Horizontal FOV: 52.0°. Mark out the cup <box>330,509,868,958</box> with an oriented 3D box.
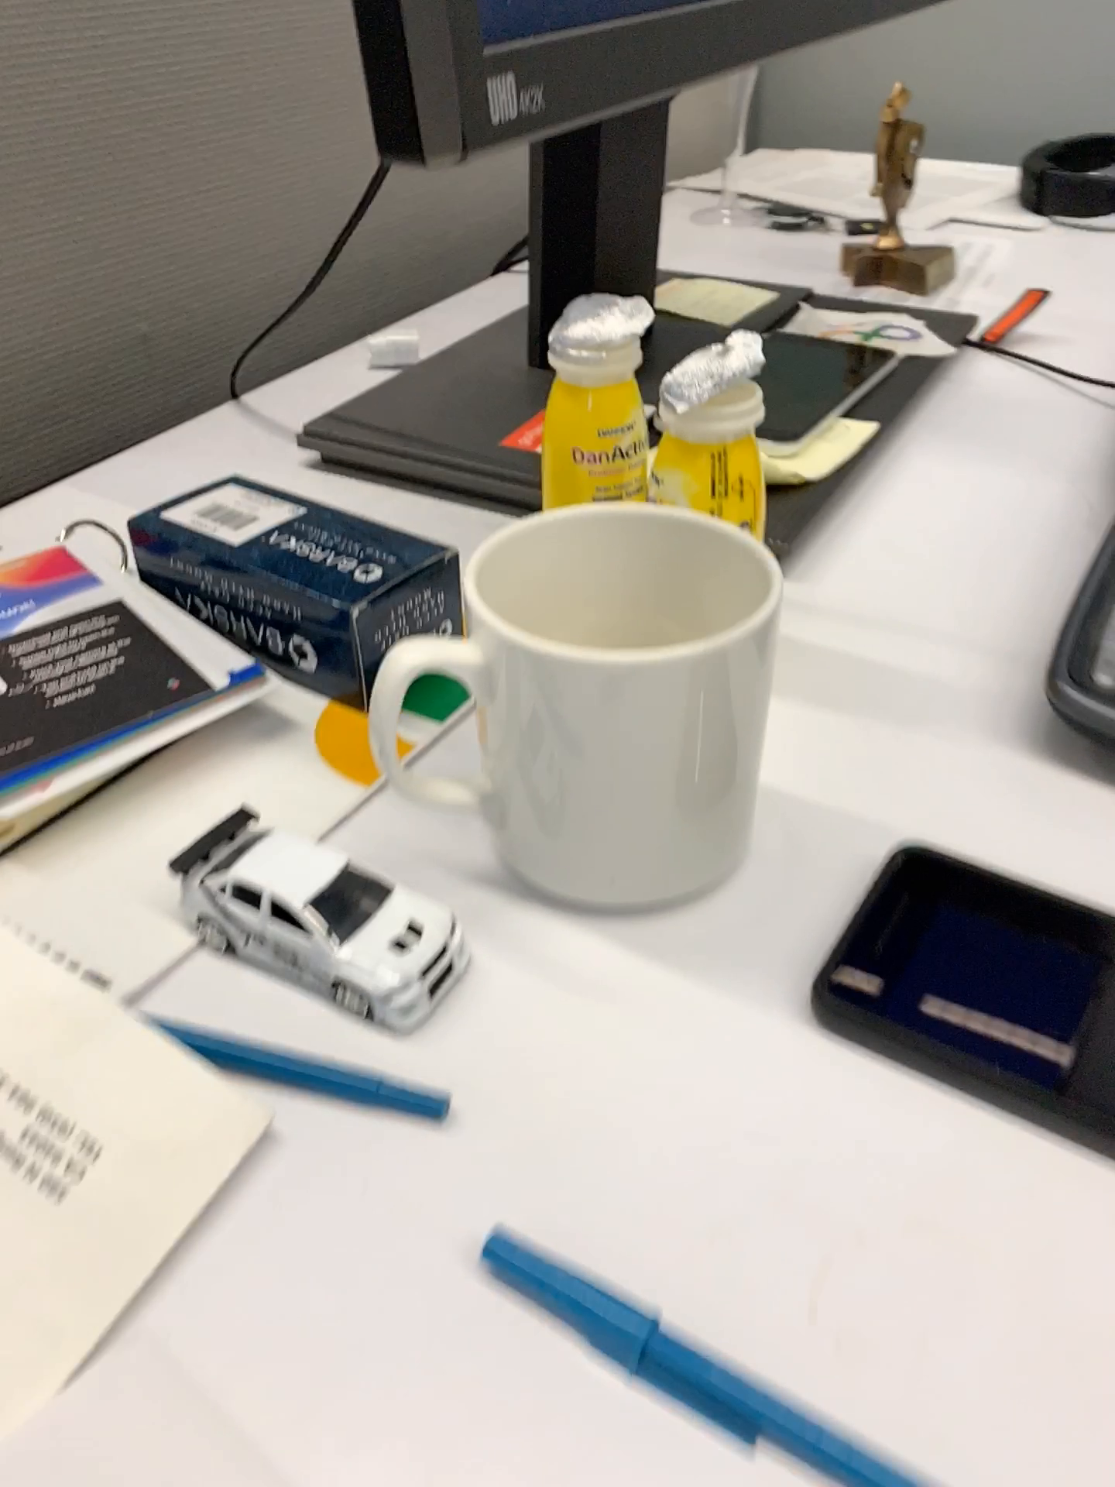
[{"bbox_3d":[0.006,-0.005,0.307,0.120,0.080,0.070,-8,37,-10],"label":"cup"}]
